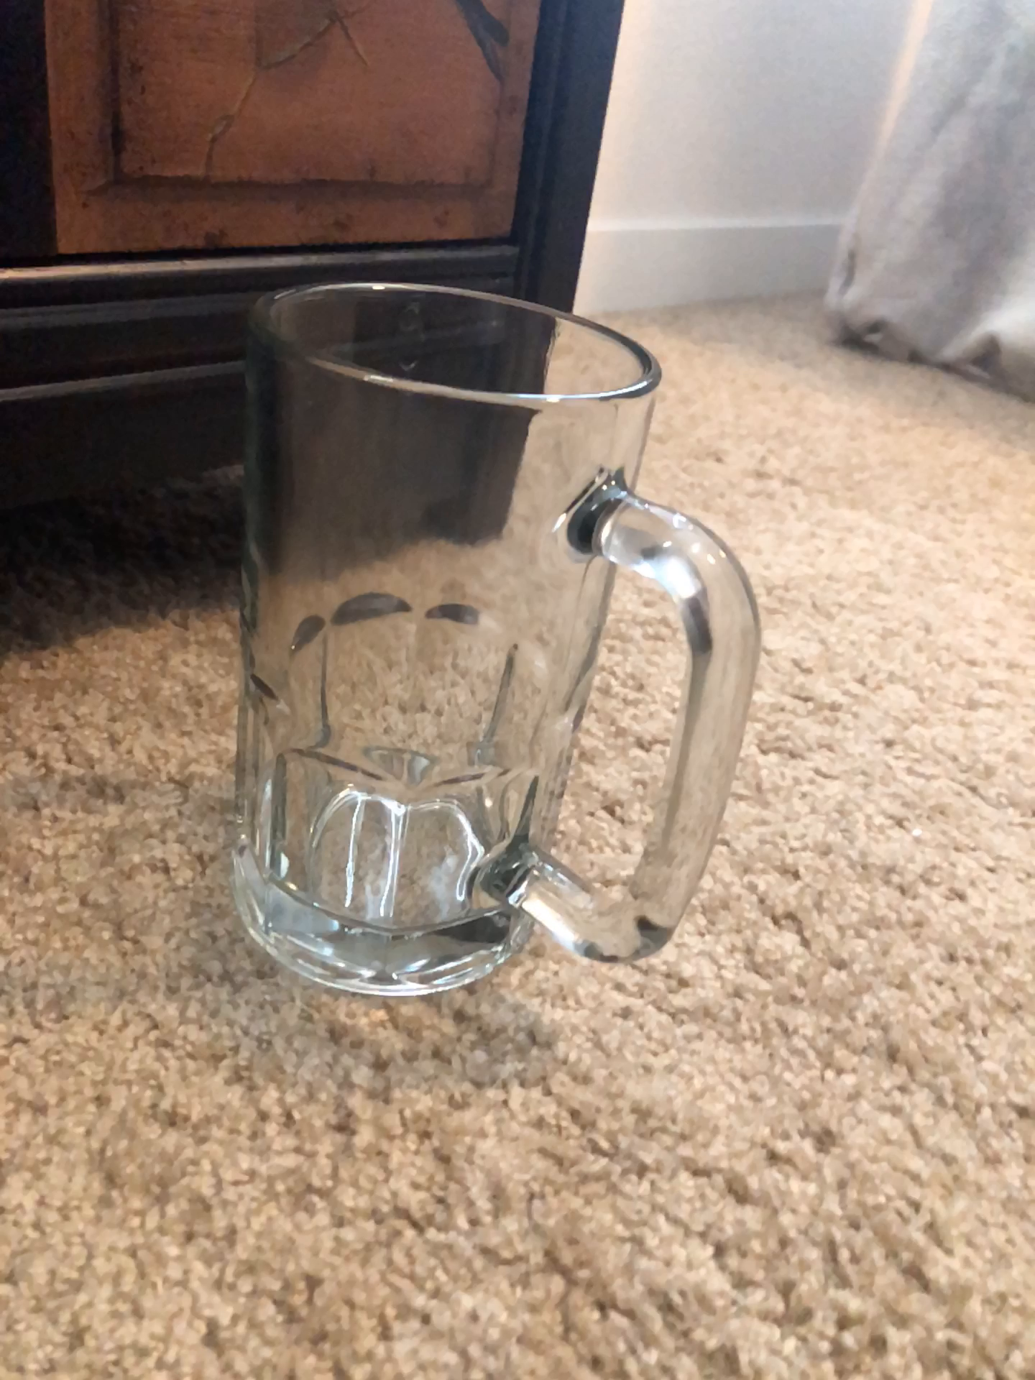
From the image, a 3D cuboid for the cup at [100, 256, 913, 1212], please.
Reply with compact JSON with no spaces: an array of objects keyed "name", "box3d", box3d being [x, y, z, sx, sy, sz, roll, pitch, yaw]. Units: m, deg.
[{"name":"cup","box3d":[-0.014,-0.004,0.264,0.134,0.156,0.097,28,32,31]}]
